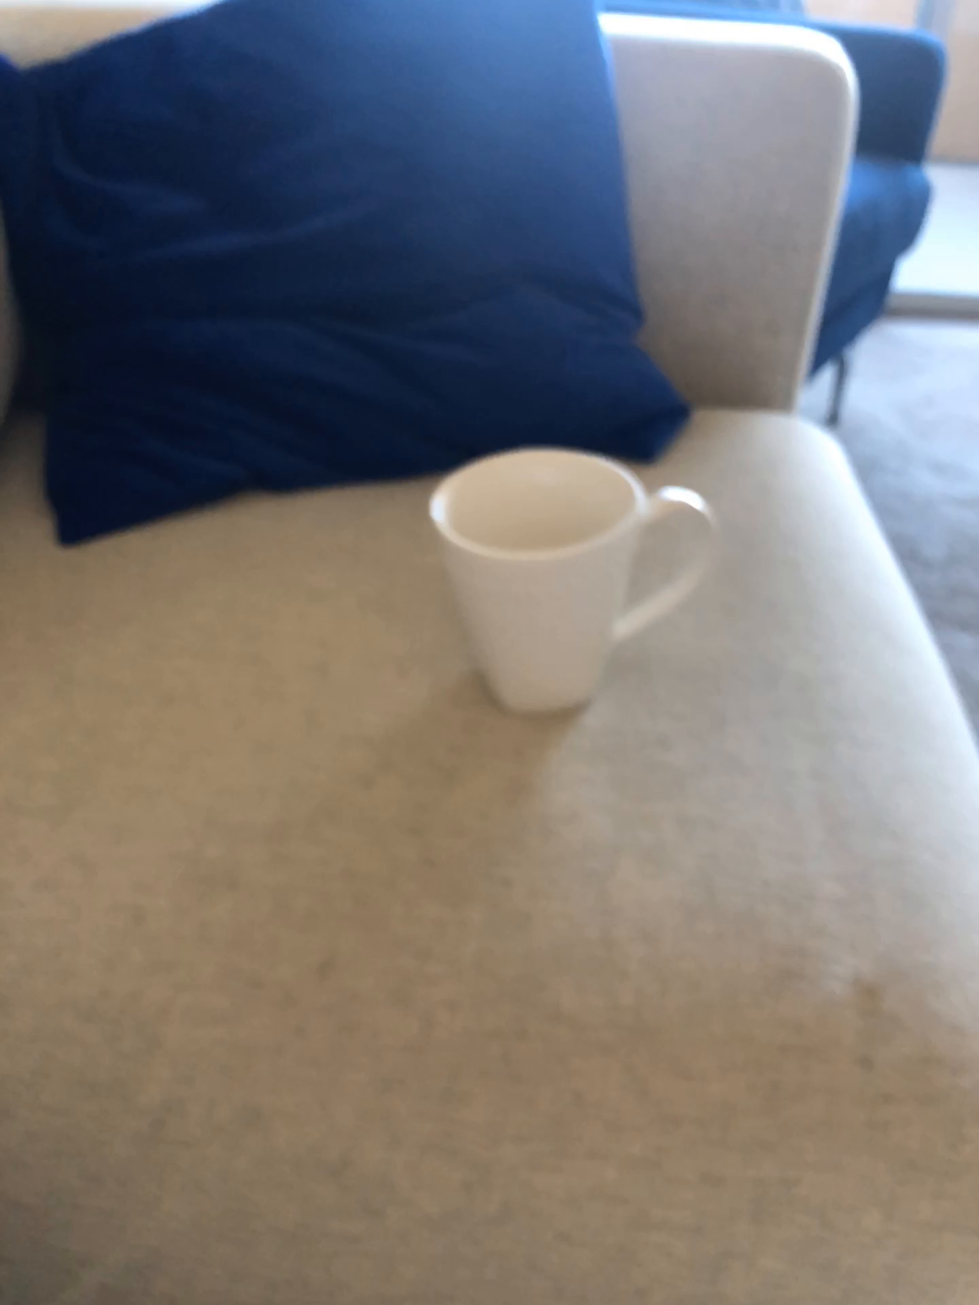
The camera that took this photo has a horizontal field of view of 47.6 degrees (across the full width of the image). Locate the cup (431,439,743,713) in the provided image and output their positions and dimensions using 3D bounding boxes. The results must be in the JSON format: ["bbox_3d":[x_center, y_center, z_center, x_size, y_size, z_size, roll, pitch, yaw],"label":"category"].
[{"bbox_3d":[0.038,-0.038,0.529,0.130,0.090,0.100,0,35,-3],"label":"cup"}]
